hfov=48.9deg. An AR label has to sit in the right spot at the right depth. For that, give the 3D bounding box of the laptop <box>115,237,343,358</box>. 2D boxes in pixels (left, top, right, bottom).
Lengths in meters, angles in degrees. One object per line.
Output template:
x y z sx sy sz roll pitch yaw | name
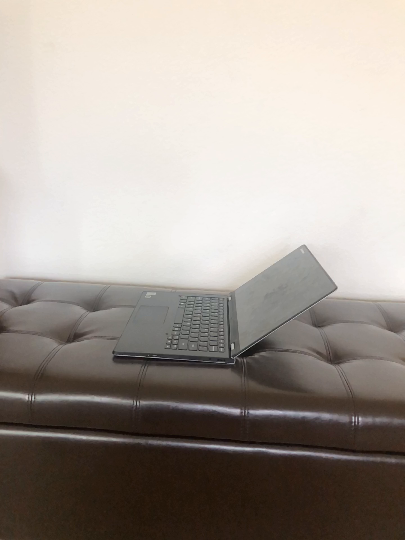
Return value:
0.037 0.032 0.760 0.317 0.115 0.262 2 17 2 | laptop
